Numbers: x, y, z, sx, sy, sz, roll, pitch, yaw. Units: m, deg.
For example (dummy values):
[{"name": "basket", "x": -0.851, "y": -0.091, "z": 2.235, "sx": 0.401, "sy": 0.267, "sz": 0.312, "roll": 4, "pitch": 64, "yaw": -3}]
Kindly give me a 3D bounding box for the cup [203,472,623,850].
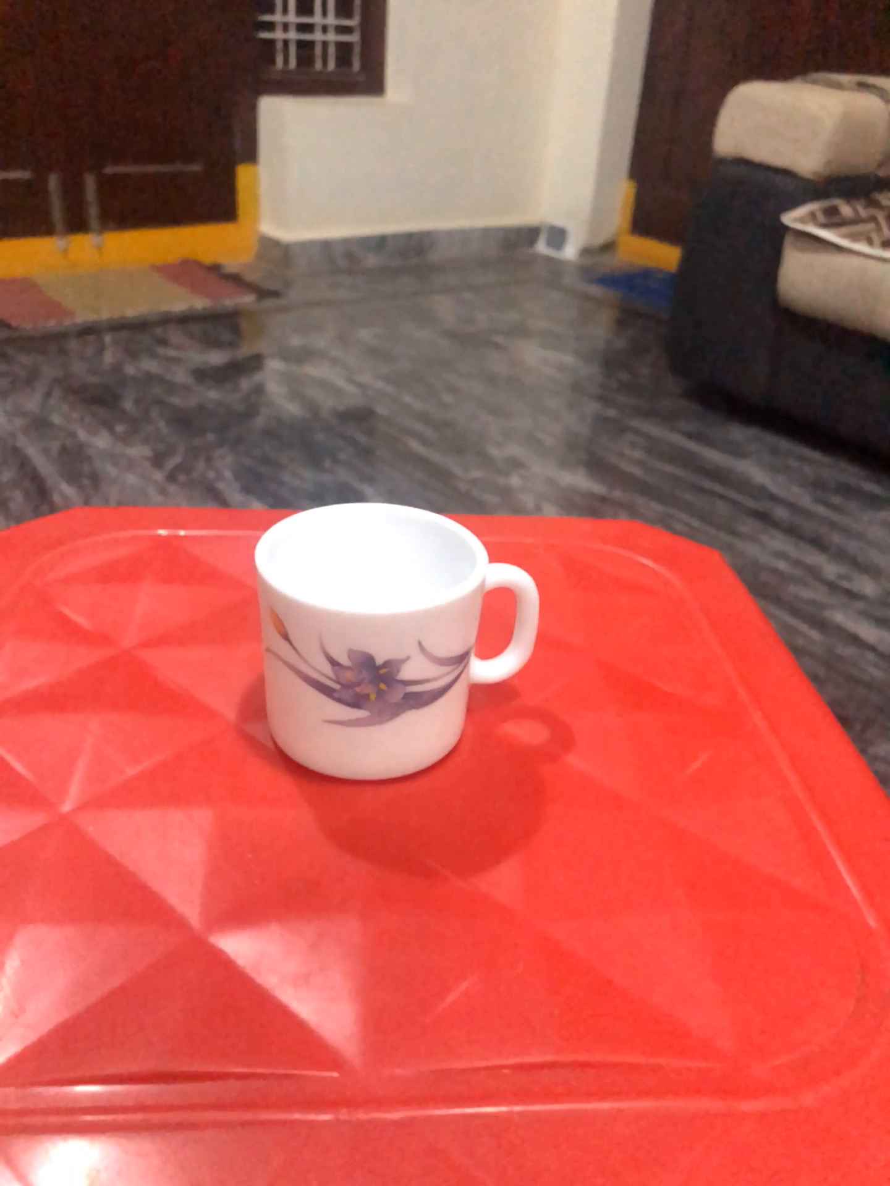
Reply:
[{"name": "cup", "x": -0.011, "y": 0.013, "z": 0.281, "sx": 0.090, "sy": 0.060, "sz": 0.070, "roll": -13, "pitch": 34, "yaw": -28}]
